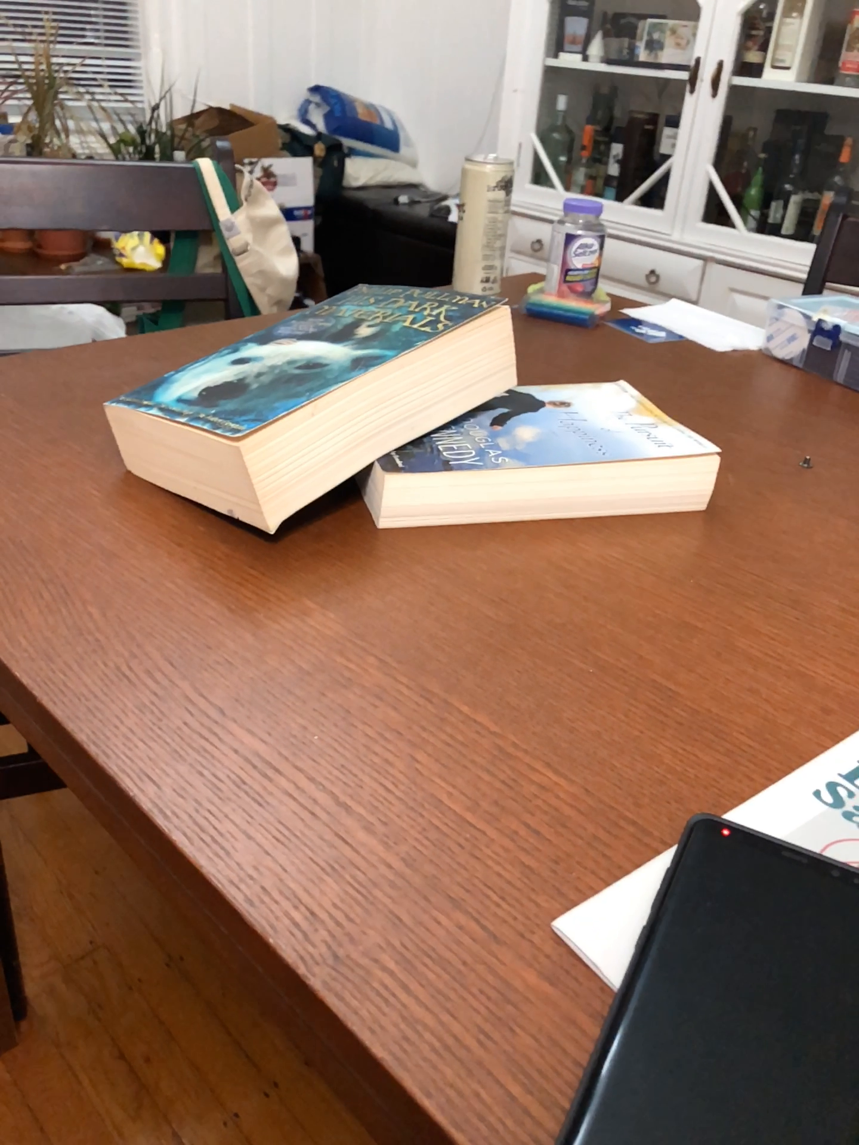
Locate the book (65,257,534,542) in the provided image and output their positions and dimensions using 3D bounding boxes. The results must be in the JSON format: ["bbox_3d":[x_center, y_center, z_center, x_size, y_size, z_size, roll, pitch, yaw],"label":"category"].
[{"bbox_3d":[-0.076,-0.127,0.608,0.170,0.060,0.241,22,46,38],"label":"book"}]

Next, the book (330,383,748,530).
[{"bbox_3d":[0.062,-0.086,0.644,0.240,0.040,0.171,-5,24,-11],"label":"book"}]
